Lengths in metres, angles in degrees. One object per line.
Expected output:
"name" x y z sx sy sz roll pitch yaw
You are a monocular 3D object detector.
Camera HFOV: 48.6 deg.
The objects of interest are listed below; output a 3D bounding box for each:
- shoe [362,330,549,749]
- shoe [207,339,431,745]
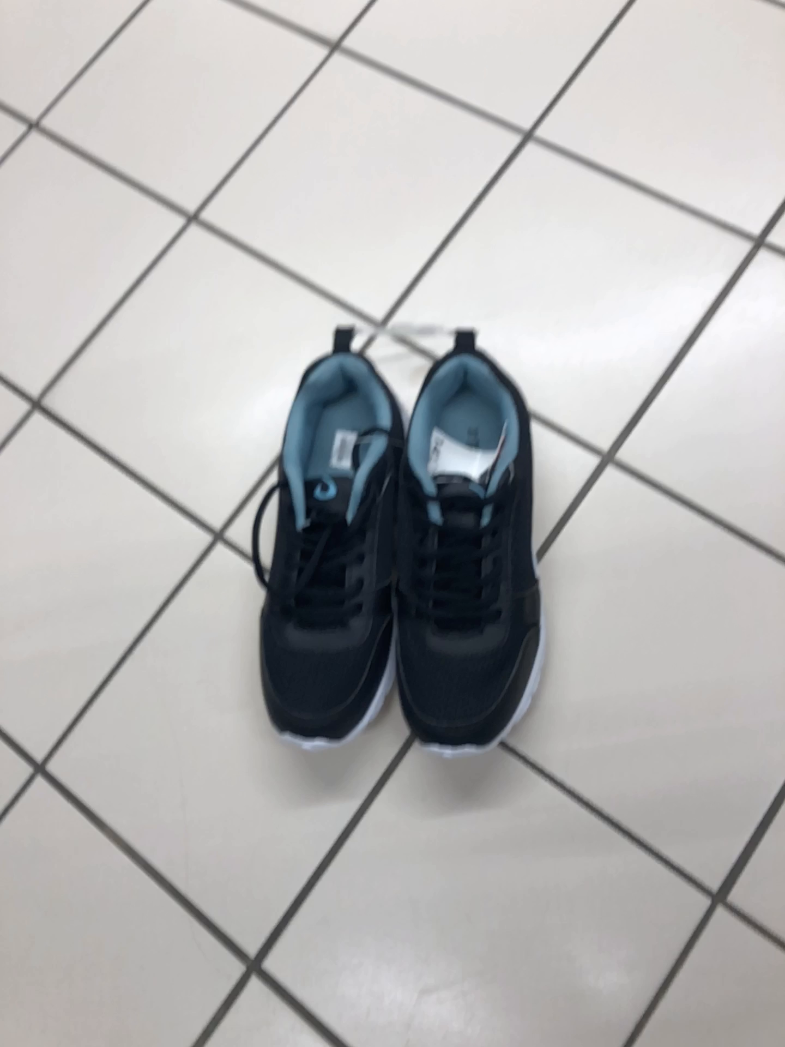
"shoe" 0.048 0.014 0.551 0.100 0.110 0.240 0 72 10
"shoe" -0.039 0.015 0.565 0.100 0.100 0.240 -1 72 14
